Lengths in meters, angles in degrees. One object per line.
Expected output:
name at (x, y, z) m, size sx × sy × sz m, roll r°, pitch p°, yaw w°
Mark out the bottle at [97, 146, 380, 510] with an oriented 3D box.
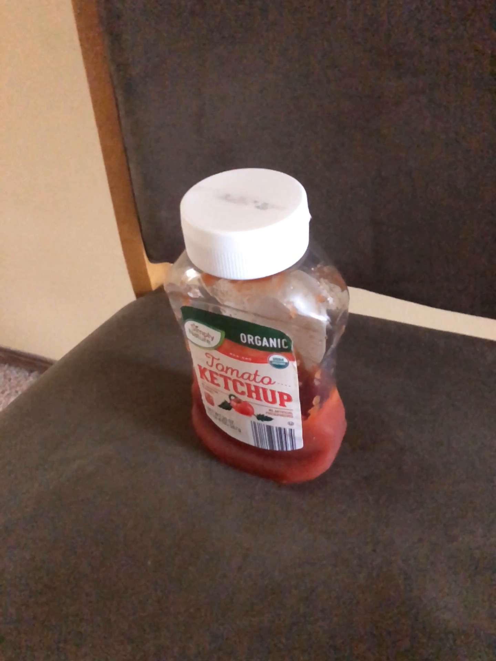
bottle at (0.004, 0.005, 0.282) m, size 0.100 × 0.170 × 0.060 m, roll 15°, pitch 47°, yaw 23°
